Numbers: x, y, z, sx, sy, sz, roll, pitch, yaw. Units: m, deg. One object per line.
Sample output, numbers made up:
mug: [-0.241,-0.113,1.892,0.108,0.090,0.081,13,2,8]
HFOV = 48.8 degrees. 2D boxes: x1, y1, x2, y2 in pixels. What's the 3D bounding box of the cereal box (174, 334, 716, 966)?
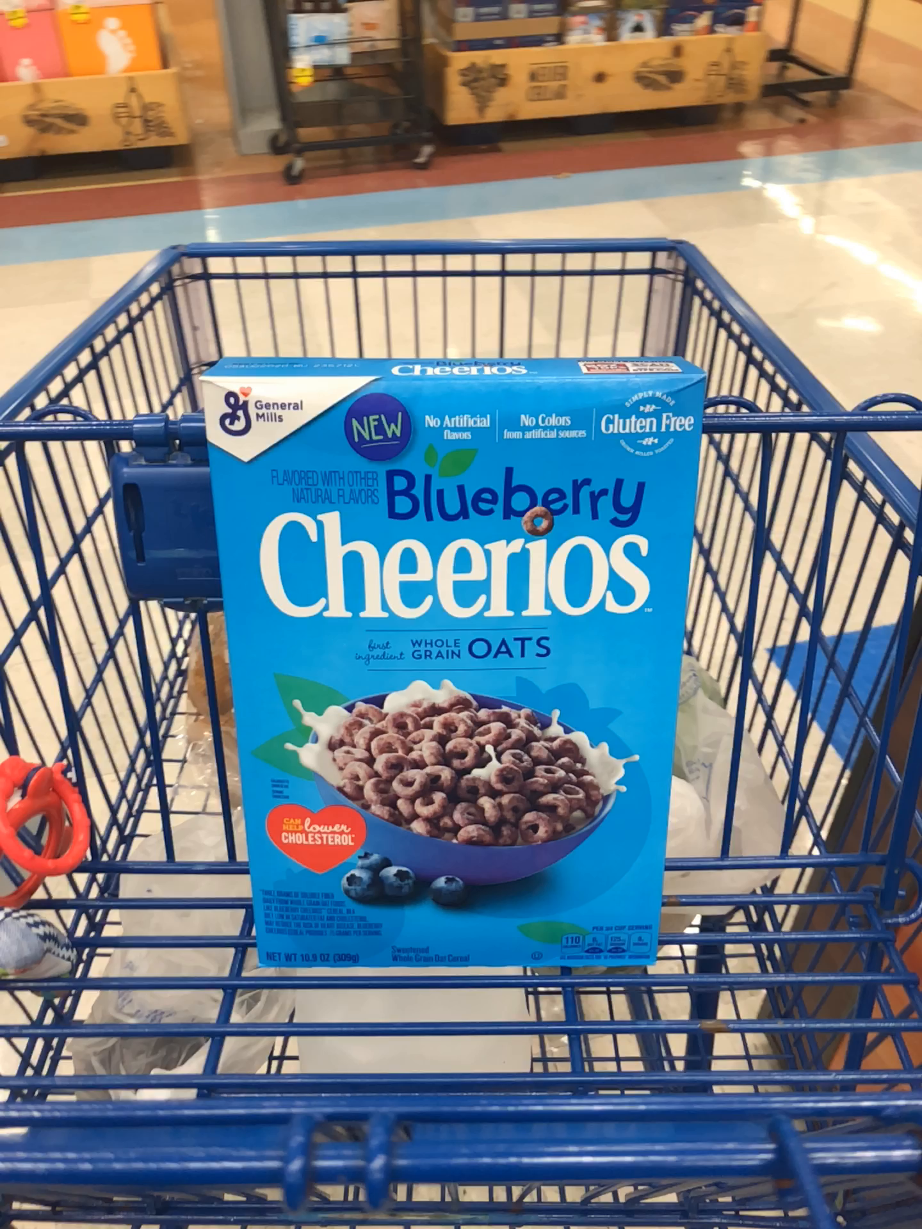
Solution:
cereal box: [-0.005,0.022,0.459,0.200,0.280,0.070,0,22,0]
